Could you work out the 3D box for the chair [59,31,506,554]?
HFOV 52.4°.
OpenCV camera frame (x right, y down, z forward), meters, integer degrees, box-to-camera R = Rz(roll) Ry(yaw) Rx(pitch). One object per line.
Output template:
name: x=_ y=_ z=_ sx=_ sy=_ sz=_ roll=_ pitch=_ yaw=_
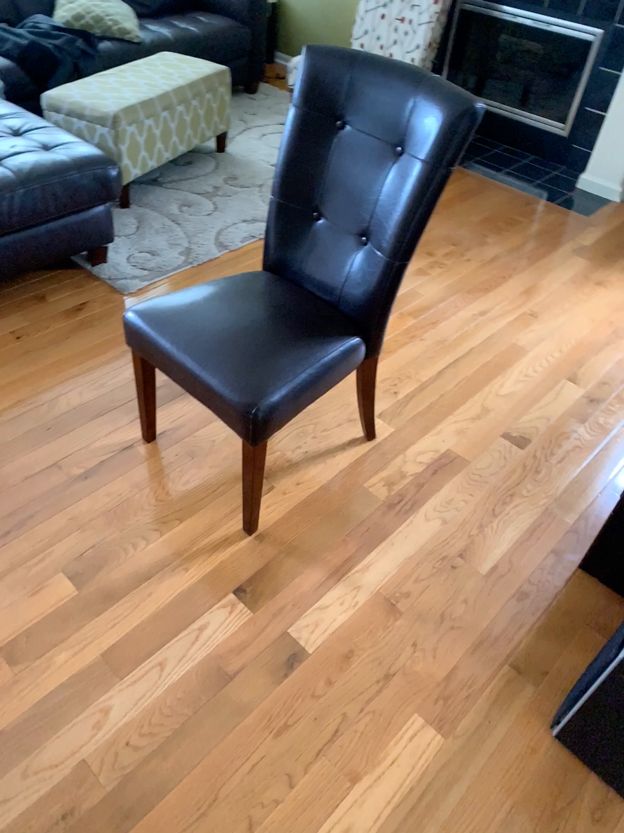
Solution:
chair: x=-0.070 y=-0.313 z=1.600 sx=0.539 sy=0.976 sz=0.725 roll=36 pitch=51 yaw=29
